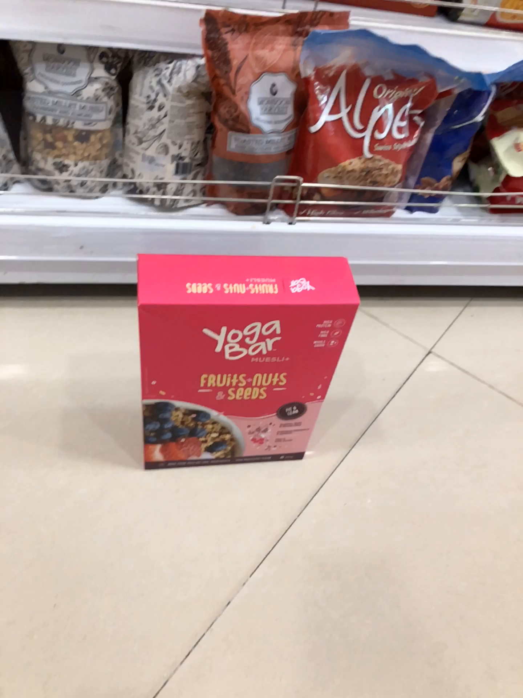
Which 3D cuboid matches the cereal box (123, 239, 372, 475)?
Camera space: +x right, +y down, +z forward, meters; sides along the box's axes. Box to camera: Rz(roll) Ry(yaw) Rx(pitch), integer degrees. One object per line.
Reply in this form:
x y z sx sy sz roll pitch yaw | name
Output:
-0.024 0.017 0.494 0.170 0.229 0.060 -3 50 -12 | cereal box
